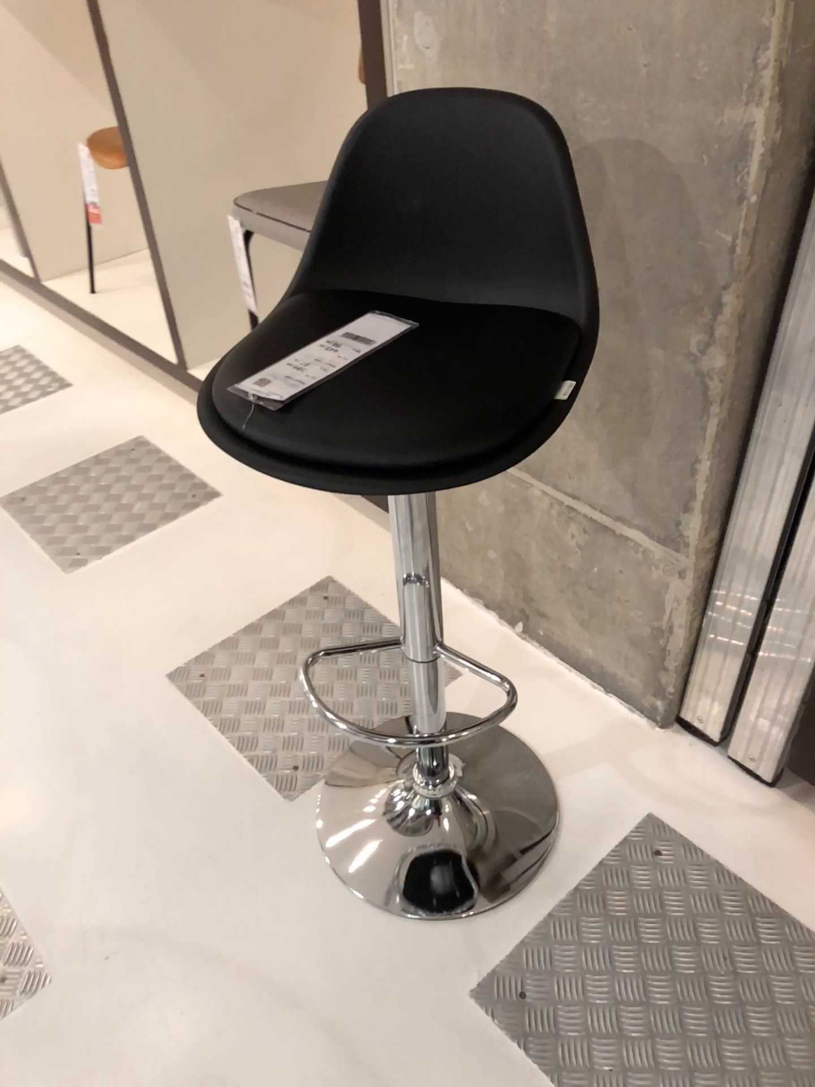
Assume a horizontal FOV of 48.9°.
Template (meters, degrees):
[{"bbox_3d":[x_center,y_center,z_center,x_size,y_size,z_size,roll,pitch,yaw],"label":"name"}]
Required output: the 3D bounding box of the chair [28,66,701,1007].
[{"bbox_3d":[0.021,0.028,1.115,0.431,1.012,0.473,15,42,22],"label":"chair"}]
